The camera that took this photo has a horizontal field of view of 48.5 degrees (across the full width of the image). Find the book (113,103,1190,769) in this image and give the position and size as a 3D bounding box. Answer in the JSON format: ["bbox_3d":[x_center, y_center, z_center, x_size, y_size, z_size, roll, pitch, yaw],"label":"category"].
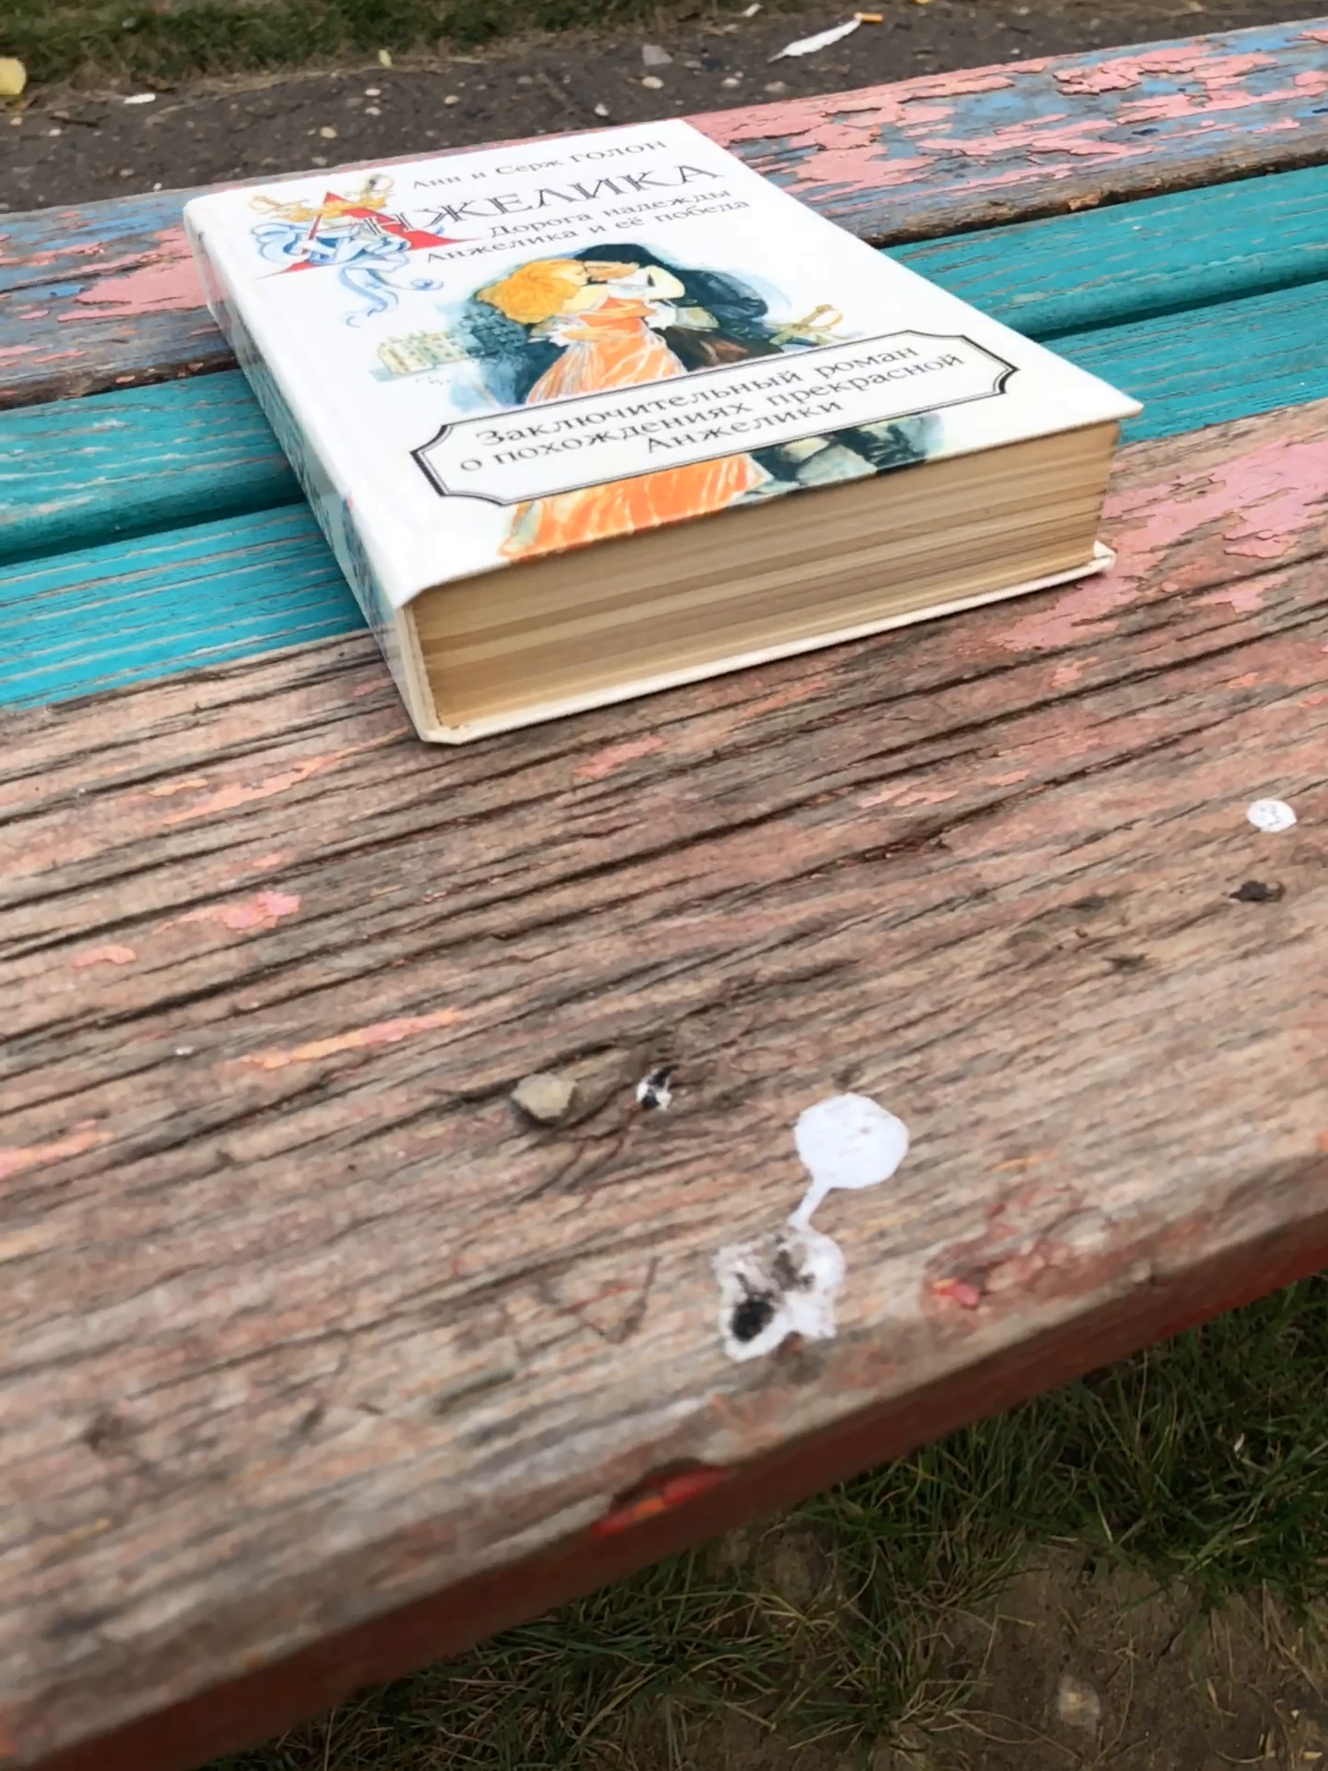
[{"bbox_3d":[-0.021,-0.116,0.318,0.153,0.032,0.214,-16,45,-17],"label":"book"}]
